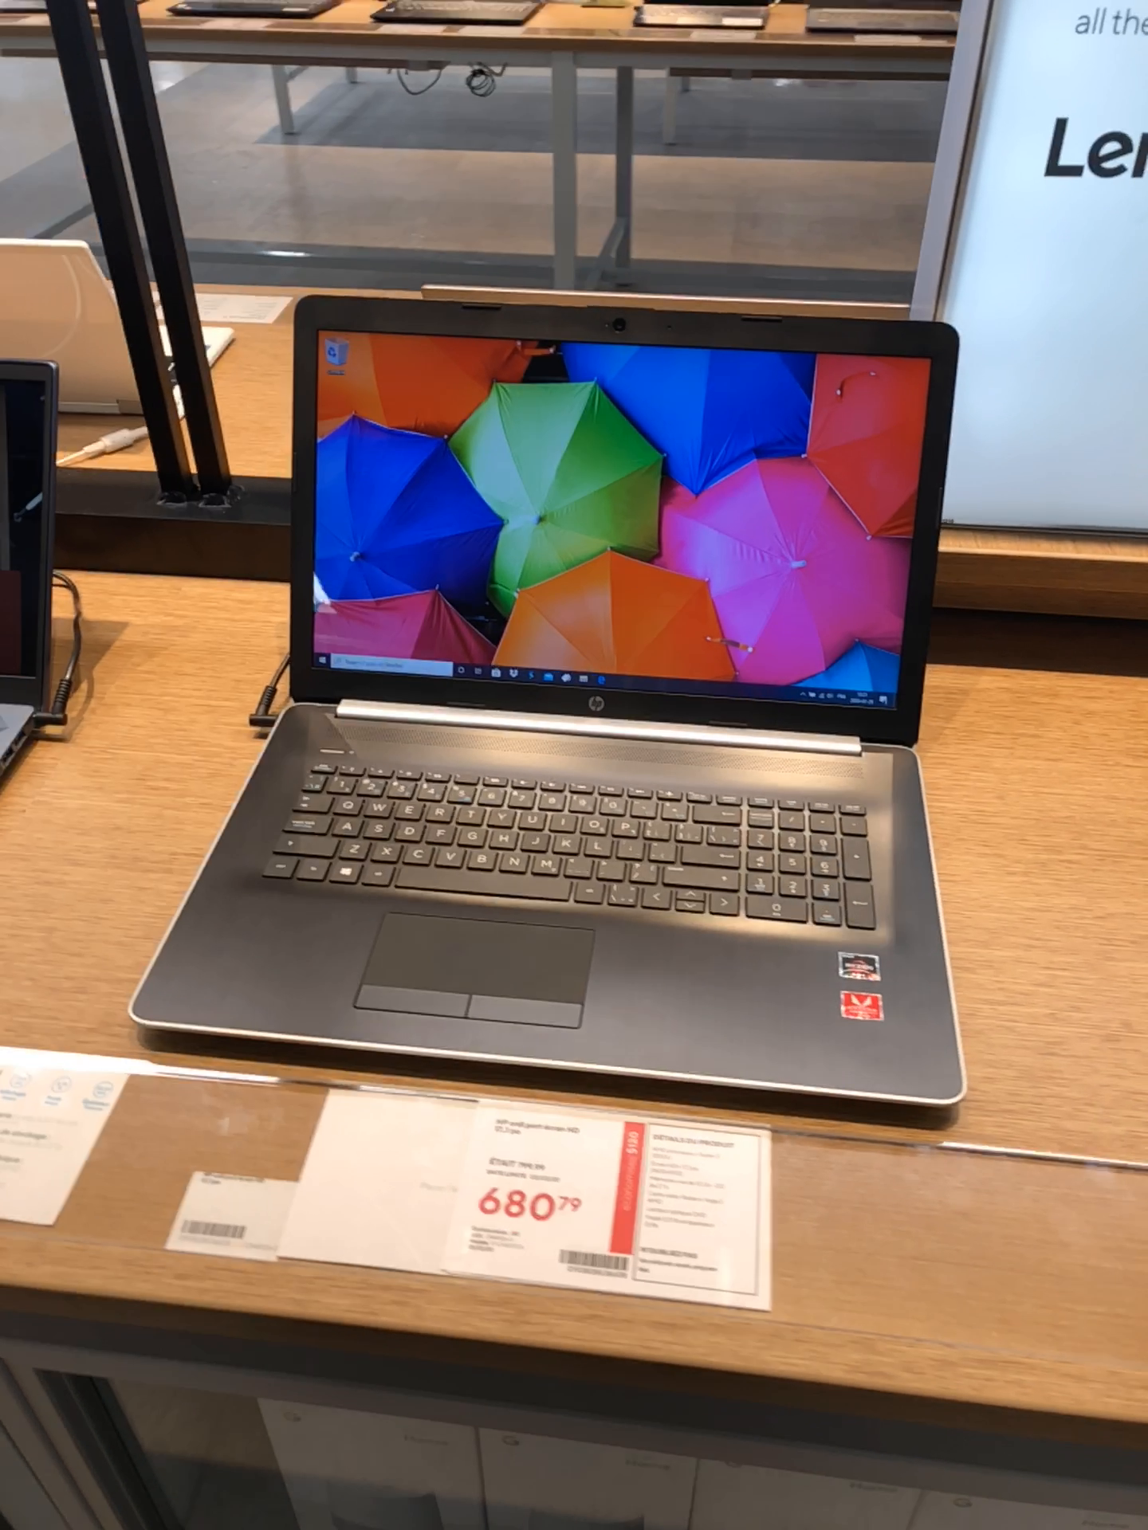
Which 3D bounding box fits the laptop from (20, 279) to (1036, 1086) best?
[{"bbox_3d":[0.000,-0.078,0.703,0.399,0.217,0.399,4,41,6],"label":"laptop"}]
